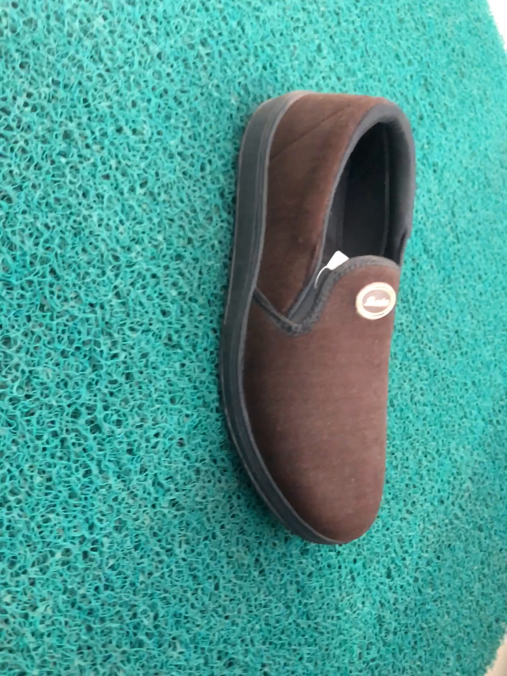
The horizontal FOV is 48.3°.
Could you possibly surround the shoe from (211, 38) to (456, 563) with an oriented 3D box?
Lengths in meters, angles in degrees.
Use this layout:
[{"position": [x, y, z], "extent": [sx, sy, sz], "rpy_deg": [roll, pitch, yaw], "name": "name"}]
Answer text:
[{"position": [0.045, -0.017, 0.346], "extent": [0.101, 0.099, 0.260], "rpy_deg": [5, 81, -41], "name": "shoe"}]
